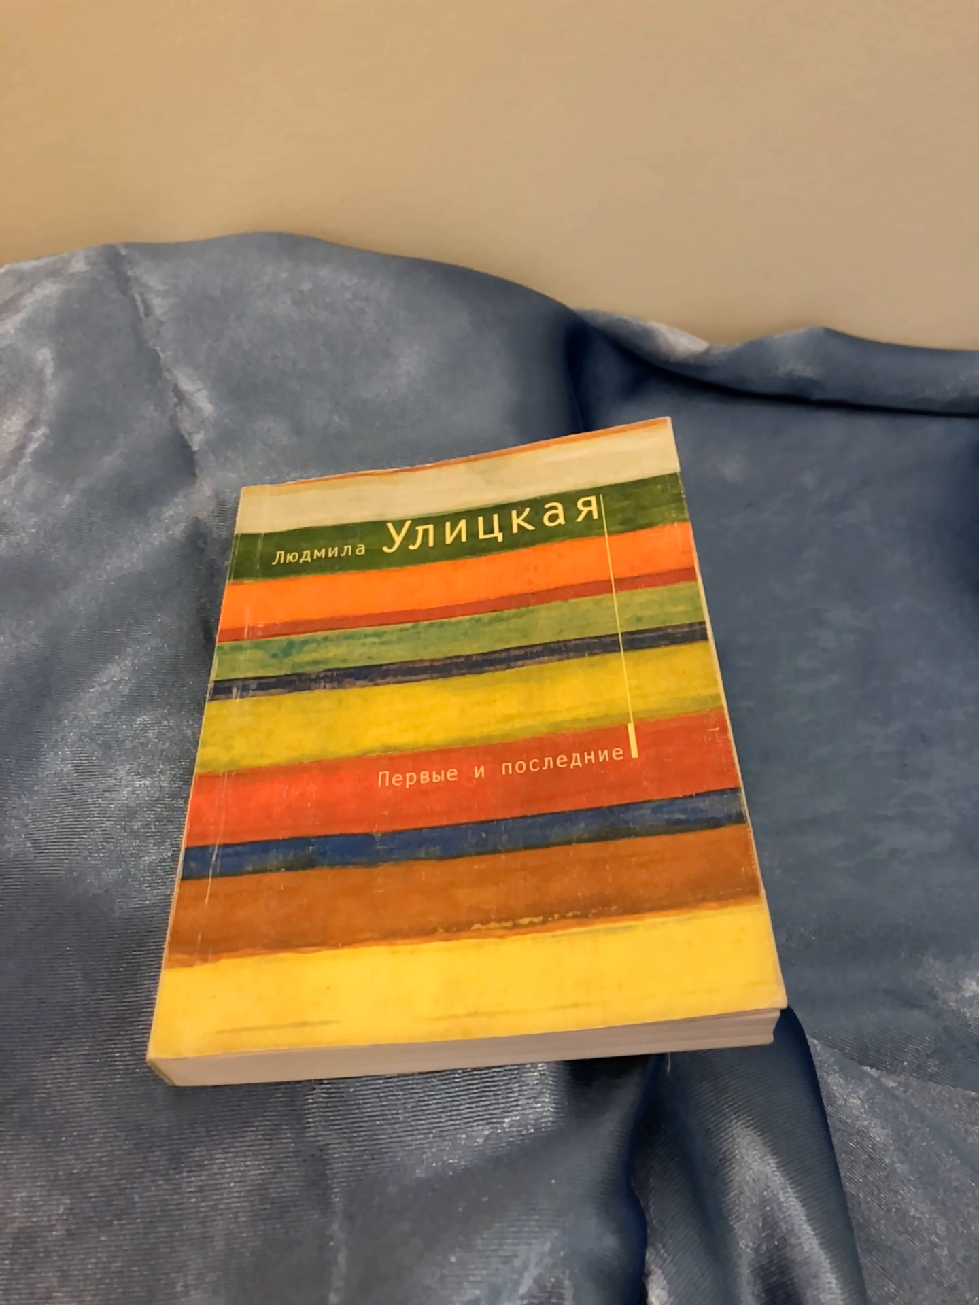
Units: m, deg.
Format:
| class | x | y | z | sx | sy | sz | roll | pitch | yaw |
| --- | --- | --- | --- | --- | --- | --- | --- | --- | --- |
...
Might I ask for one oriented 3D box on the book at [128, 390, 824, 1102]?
| class | x | y | z | sx | sy | sz | roll | pitch | yaw |
| --- | --- | --- | --- | --- | --- | --- | --- | --- | --- |
| book | -0.005 | 0.011 | 0.260 | 0.129 | 0.026 | 0.167 | -8 | 51 | 7 |
